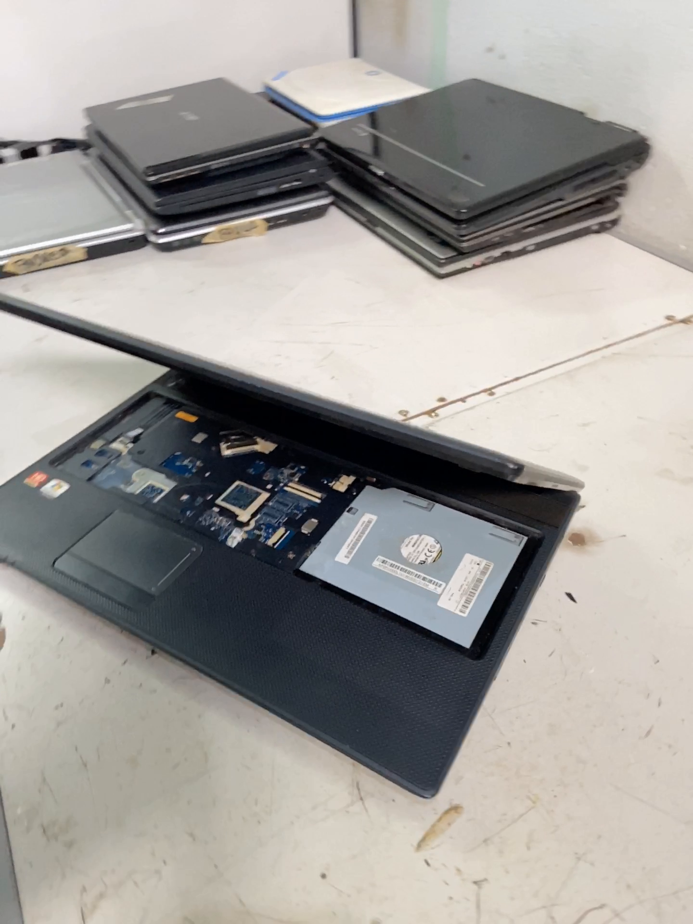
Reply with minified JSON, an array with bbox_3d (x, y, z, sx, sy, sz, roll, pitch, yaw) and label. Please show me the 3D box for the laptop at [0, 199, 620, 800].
[{"bbox_3d":[-0.061,-0.022,0.451,0.370,0.156,0.240,20,44,25],"label":"laptop"}]
